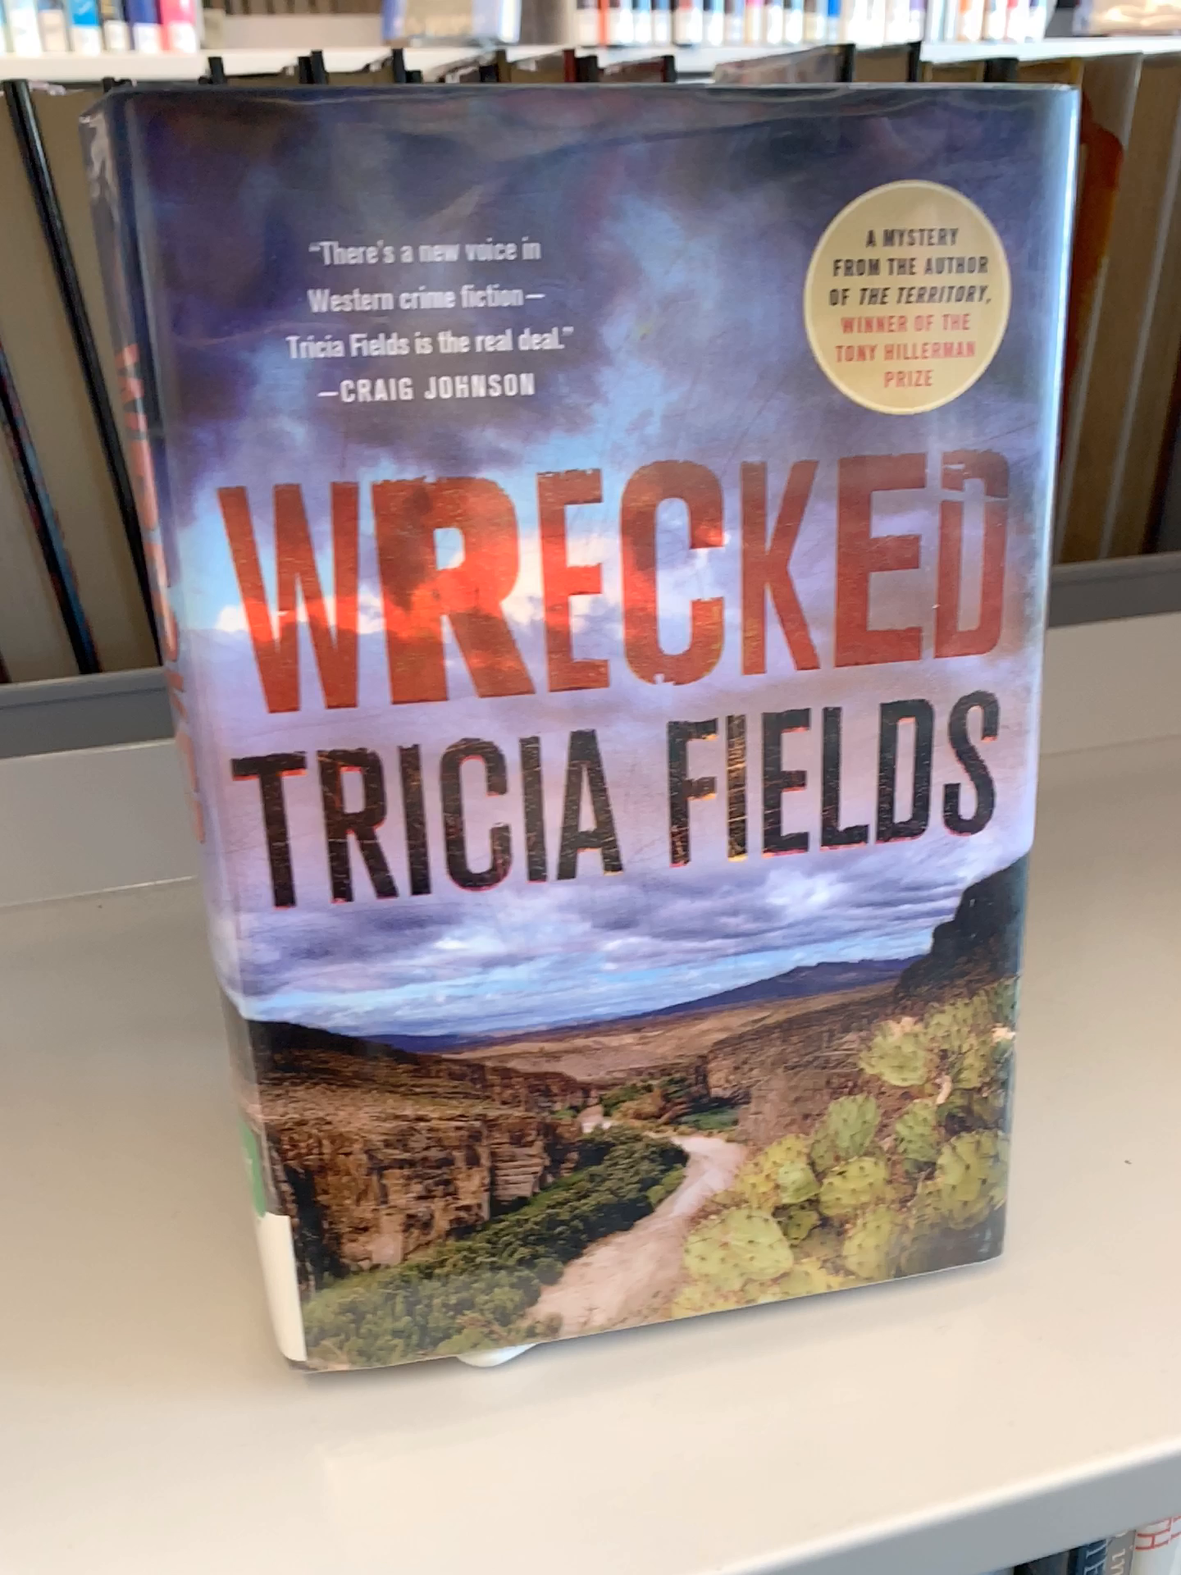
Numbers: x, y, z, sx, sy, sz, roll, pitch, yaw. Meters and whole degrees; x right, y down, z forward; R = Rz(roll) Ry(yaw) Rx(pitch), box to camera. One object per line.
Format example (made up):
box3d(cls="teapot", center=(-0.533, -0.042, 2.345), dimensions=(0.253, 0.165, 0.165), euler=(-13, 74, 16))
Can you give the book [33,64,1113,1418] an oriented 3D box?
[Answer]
box3d(cls="book", center=(0.005, -0.001, 0.216), dimensions=(0.150, 0.213, 0.034), euler=(-6, 18, -9))
